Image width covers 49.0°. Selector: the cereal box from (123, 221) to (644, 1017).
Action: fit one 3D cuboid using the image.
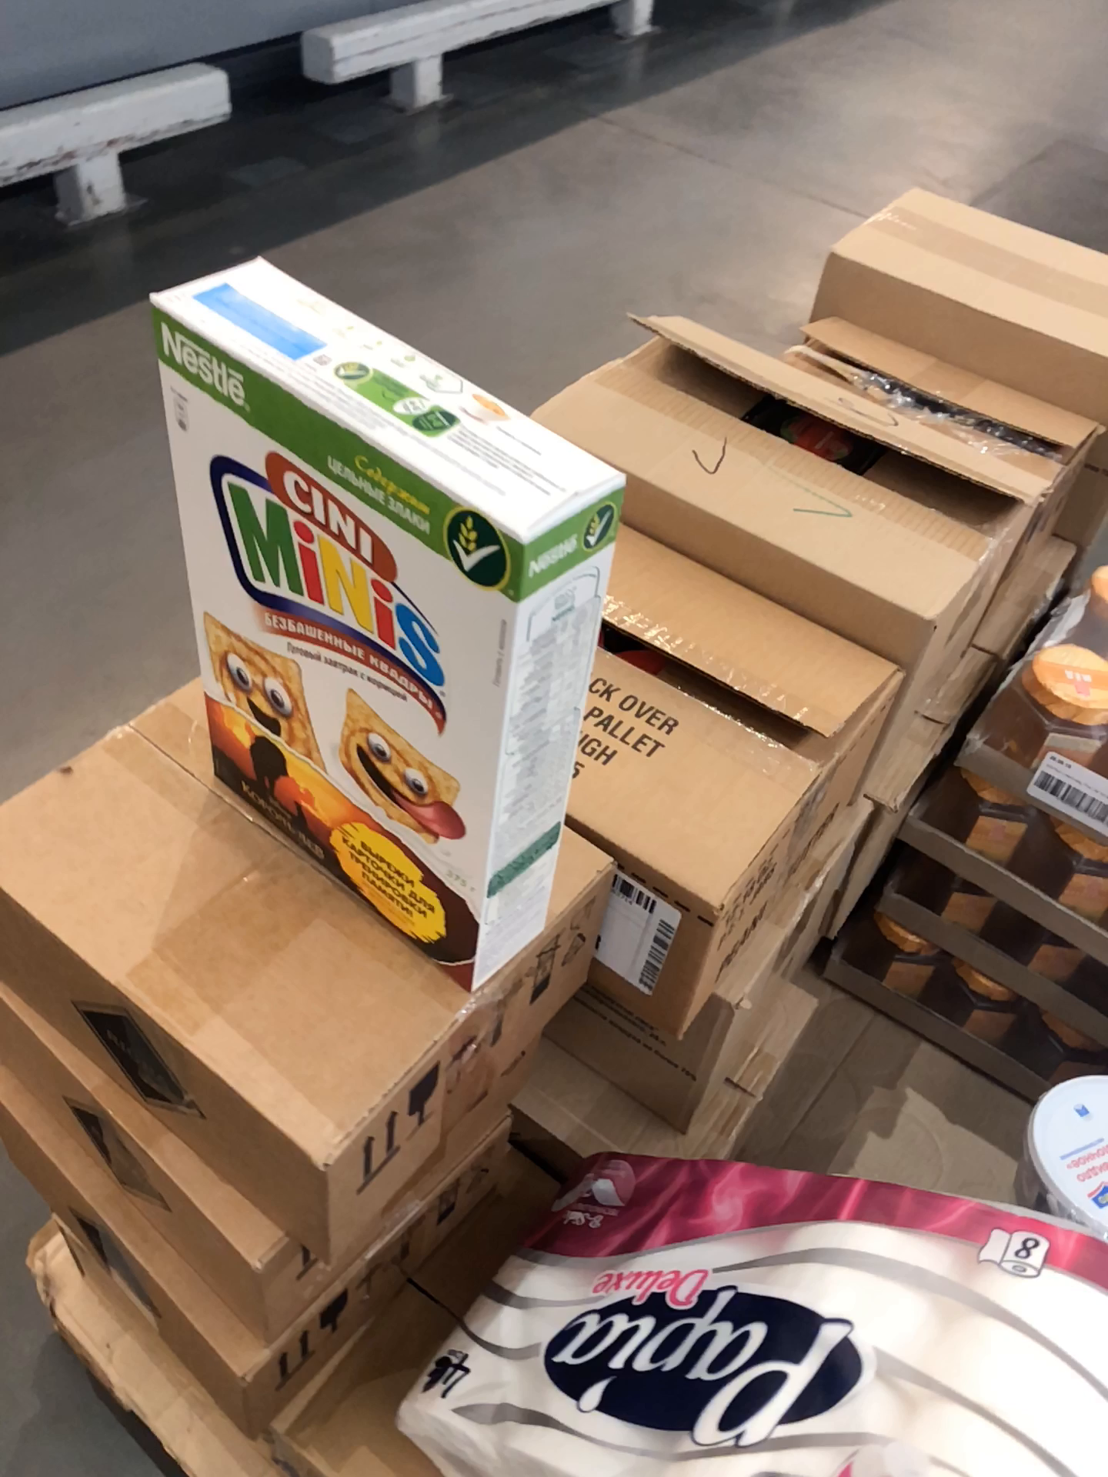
[{"bbox_3d":[-0.078,-0.038,0.517,0.200,0.278,0.060,36,52,25],"label":"cereal box"}]
